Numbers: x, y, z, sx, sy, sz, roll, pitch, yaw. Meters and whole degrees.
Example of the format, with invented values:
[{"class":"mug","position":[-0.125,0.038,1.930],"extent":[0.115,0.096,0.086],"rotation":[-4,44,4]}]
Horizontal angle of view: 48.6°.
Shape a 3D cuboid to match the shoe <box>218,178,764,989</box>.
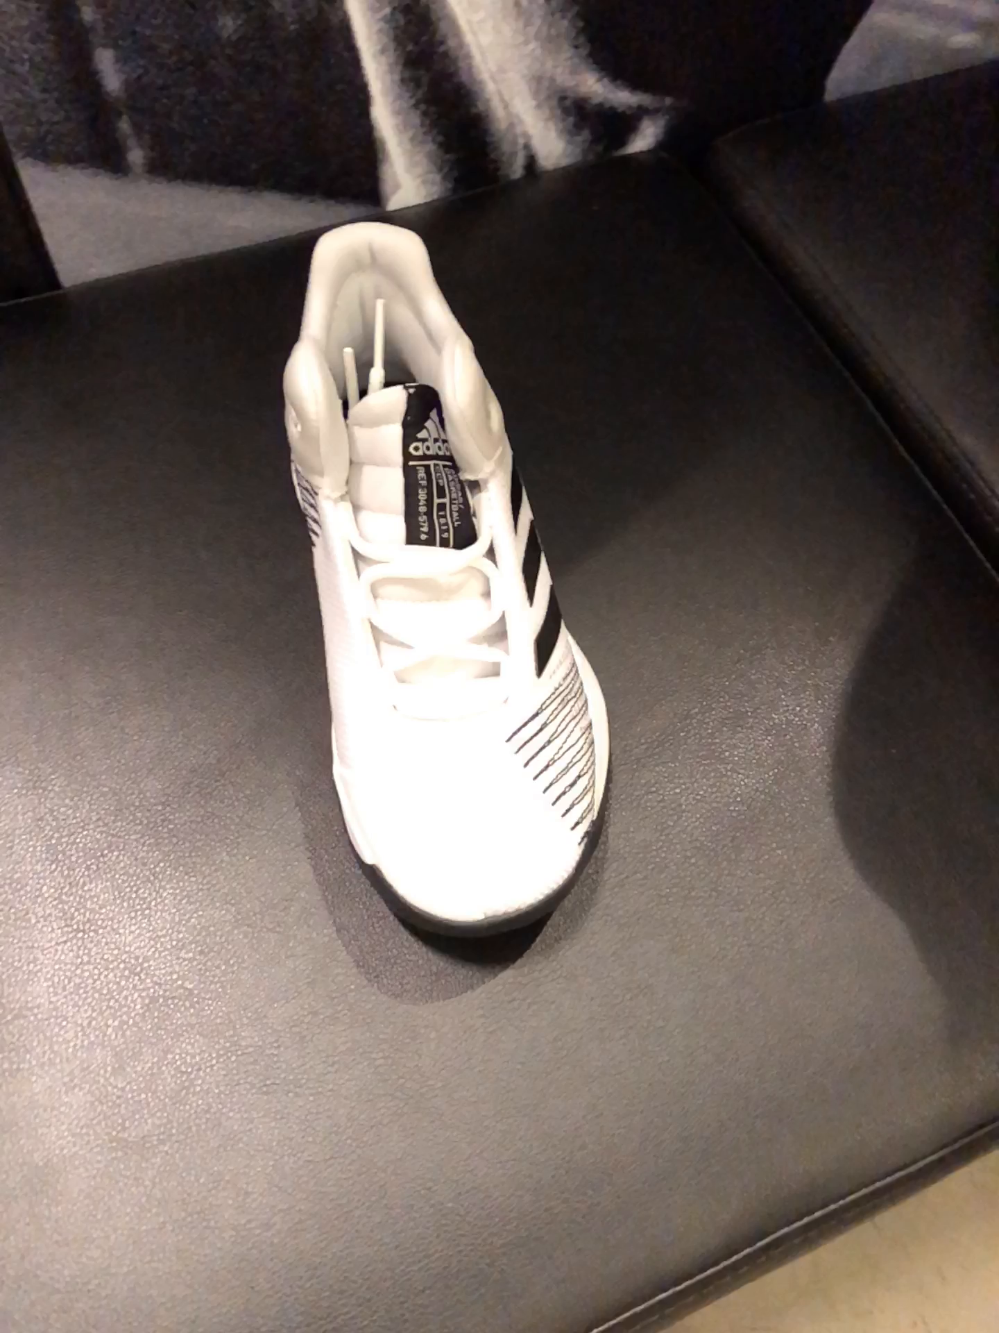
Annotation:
[{"class":"shoe","position":[-0.016,-0.030,0.353],"extent":[0.100,0.110,0.220],"rotation":[-11,63,-10]}]
